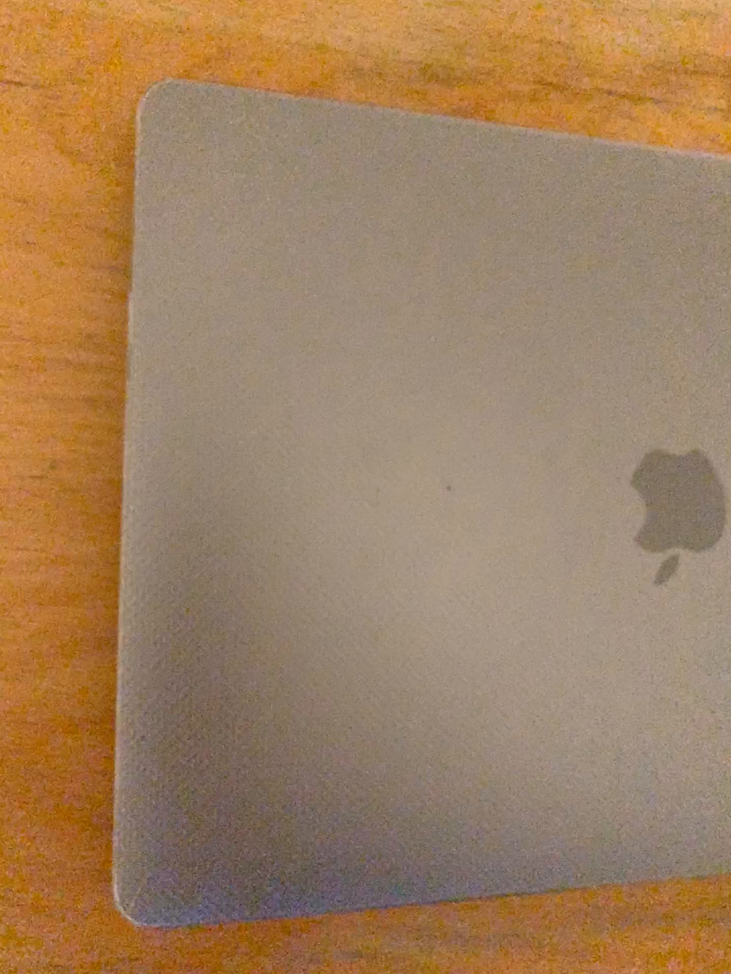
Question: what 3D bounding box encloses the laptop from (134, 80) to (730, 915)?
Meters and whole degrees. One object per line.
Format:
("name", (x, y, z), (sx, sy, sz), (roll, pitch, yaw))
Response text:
("laptop", (0.087, 0.006, 0.225), (0.292, 0.005, 0.210), (2, 87, -11))
